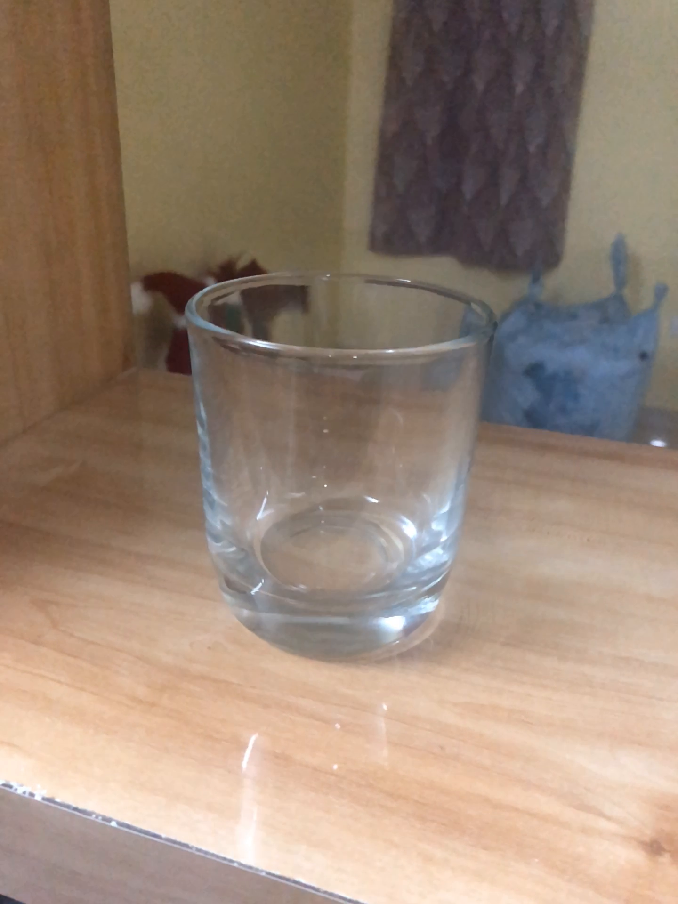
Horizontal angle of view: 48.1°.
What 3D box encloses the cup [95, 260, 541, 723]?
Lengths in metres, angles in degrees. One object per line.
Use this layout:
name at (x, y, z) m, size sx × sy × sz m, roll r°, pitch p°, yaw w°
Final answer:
cup at (-0.007, 0.001, 0.224) m, size 0.090 × 0.090 × 0.080 m, roll 23°, pitch 32°, yaw 37°
